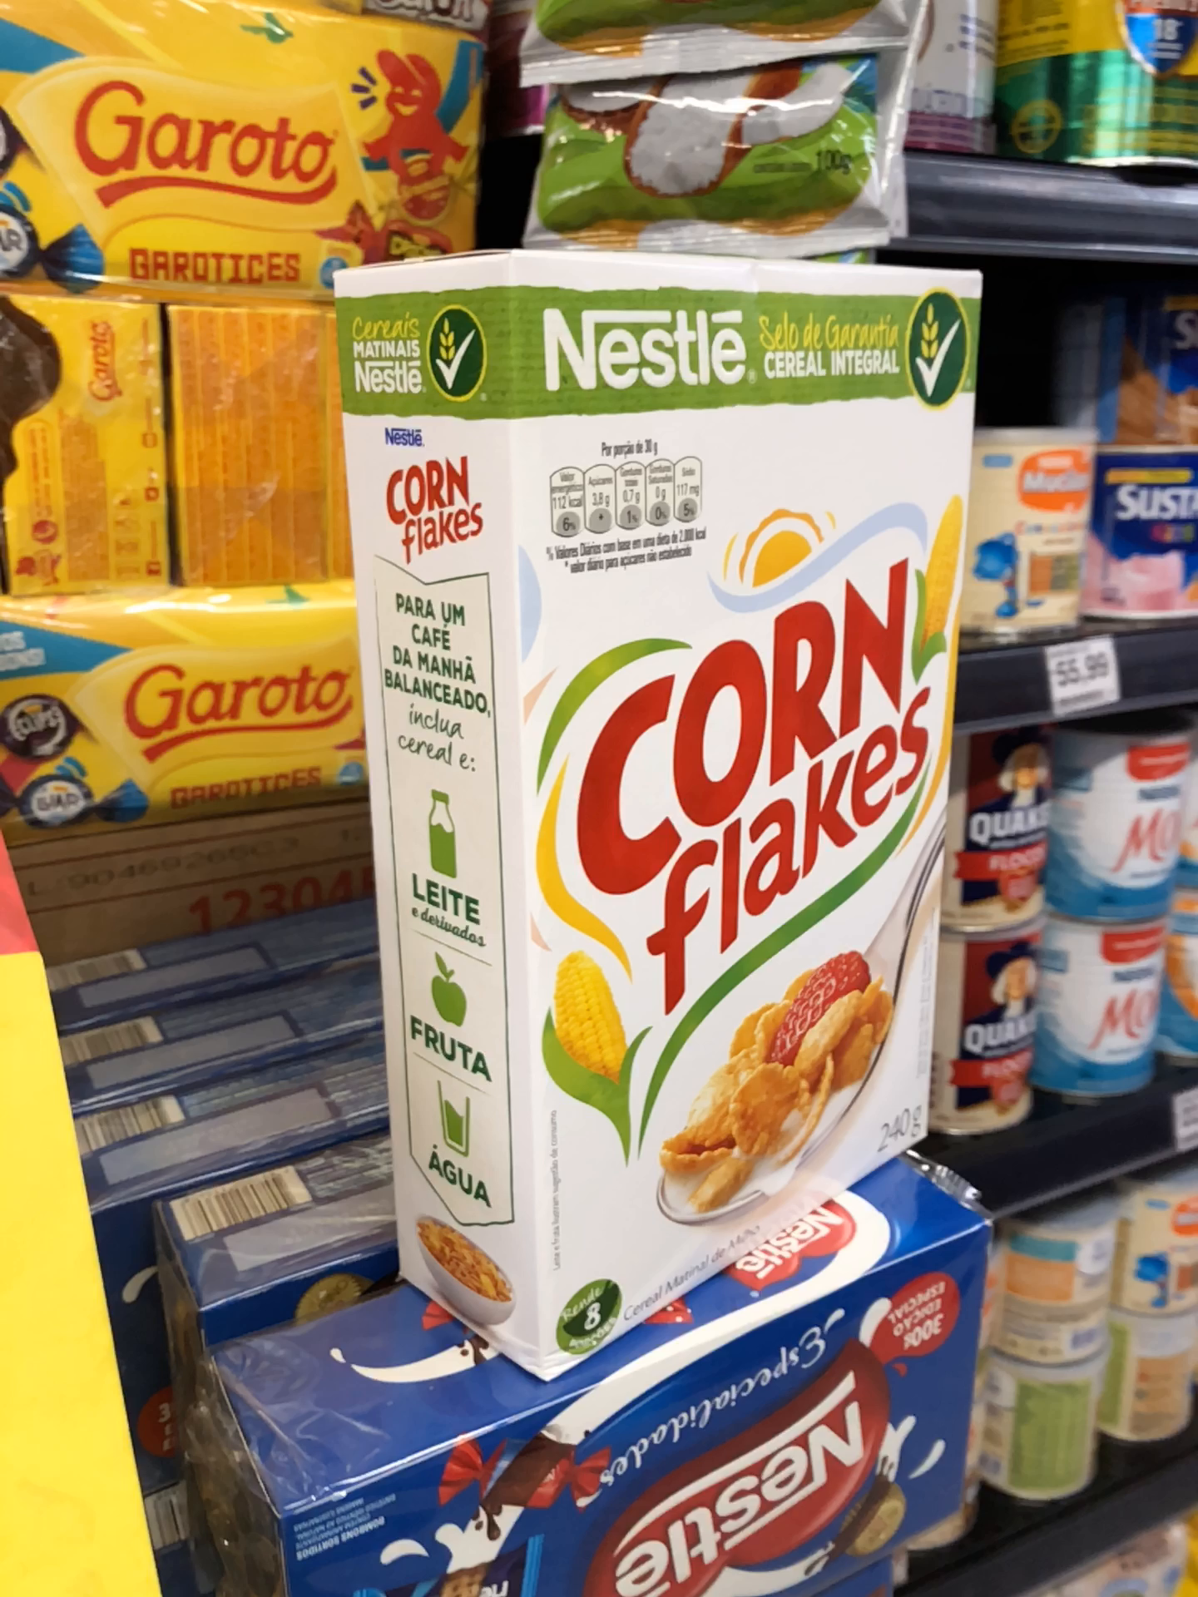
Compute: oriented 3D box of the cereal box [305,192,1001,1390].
[{"bbox_3d":[0.022,-0.010,0.343,0.170,0.249,0.060,-16,22,-42],"label":"cereal box"}]
